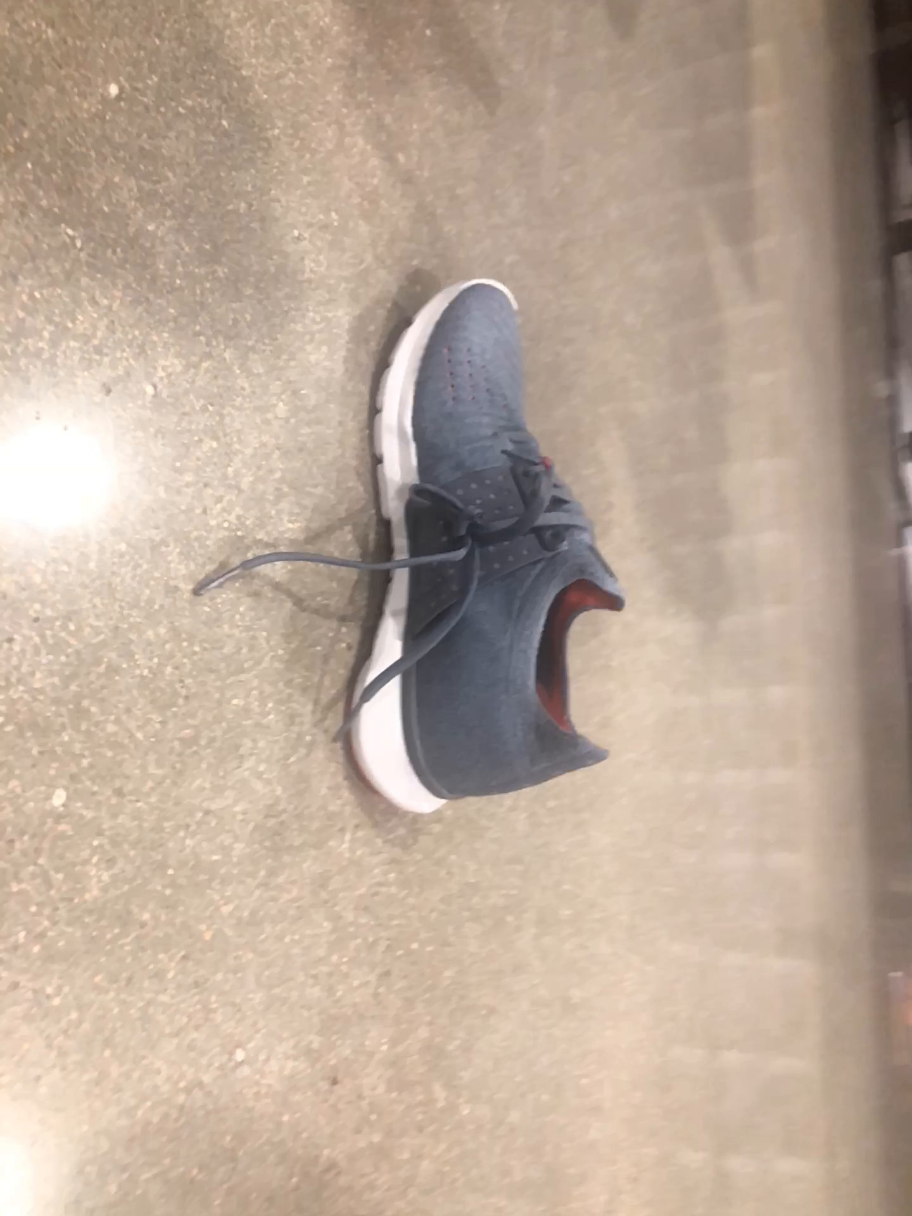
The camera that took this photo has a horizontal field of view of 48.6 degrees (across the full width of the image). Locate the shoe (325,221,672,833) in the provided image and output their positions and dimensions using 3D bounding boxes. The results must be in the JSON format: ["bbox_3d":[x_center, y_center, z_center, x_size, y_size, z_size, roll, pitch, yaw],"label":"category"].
[{"bbox_3d":[0.029,-0.030,0.469,0.101,0.109,0.250,32,59,-56],"label":"shoe"}]
